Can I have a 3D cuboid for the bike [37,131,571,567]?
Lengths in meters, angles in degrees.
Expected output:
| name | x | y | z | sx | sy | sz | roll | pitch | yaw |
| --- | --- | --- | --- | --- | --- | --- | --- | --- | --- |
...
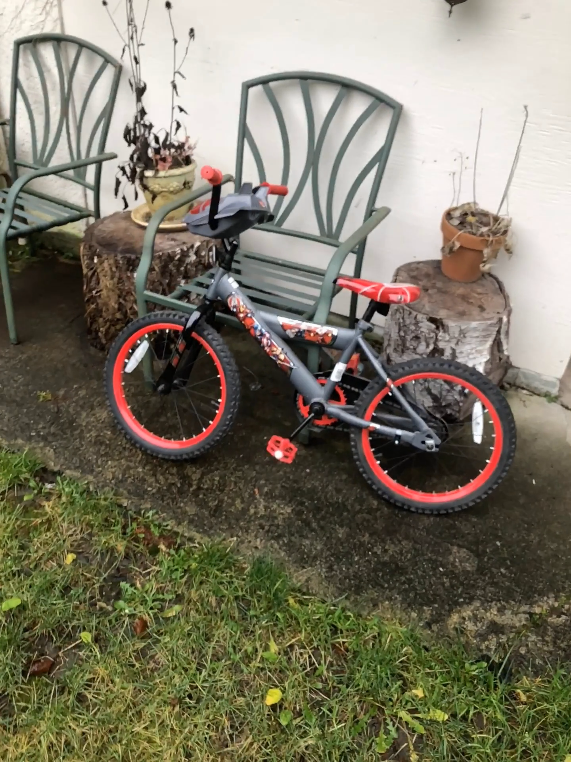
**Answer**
| name | x | y | z | sx | sy | sz | roll | pitch | yaw |
| --- | --- | --- | --- | --- | --- | --- | --- | --- | --- |
| bike | 0.080 | -0.134 | 1.759 | 1.200 | 0.853 | 0.604 | 11 | 37 | 13 |
